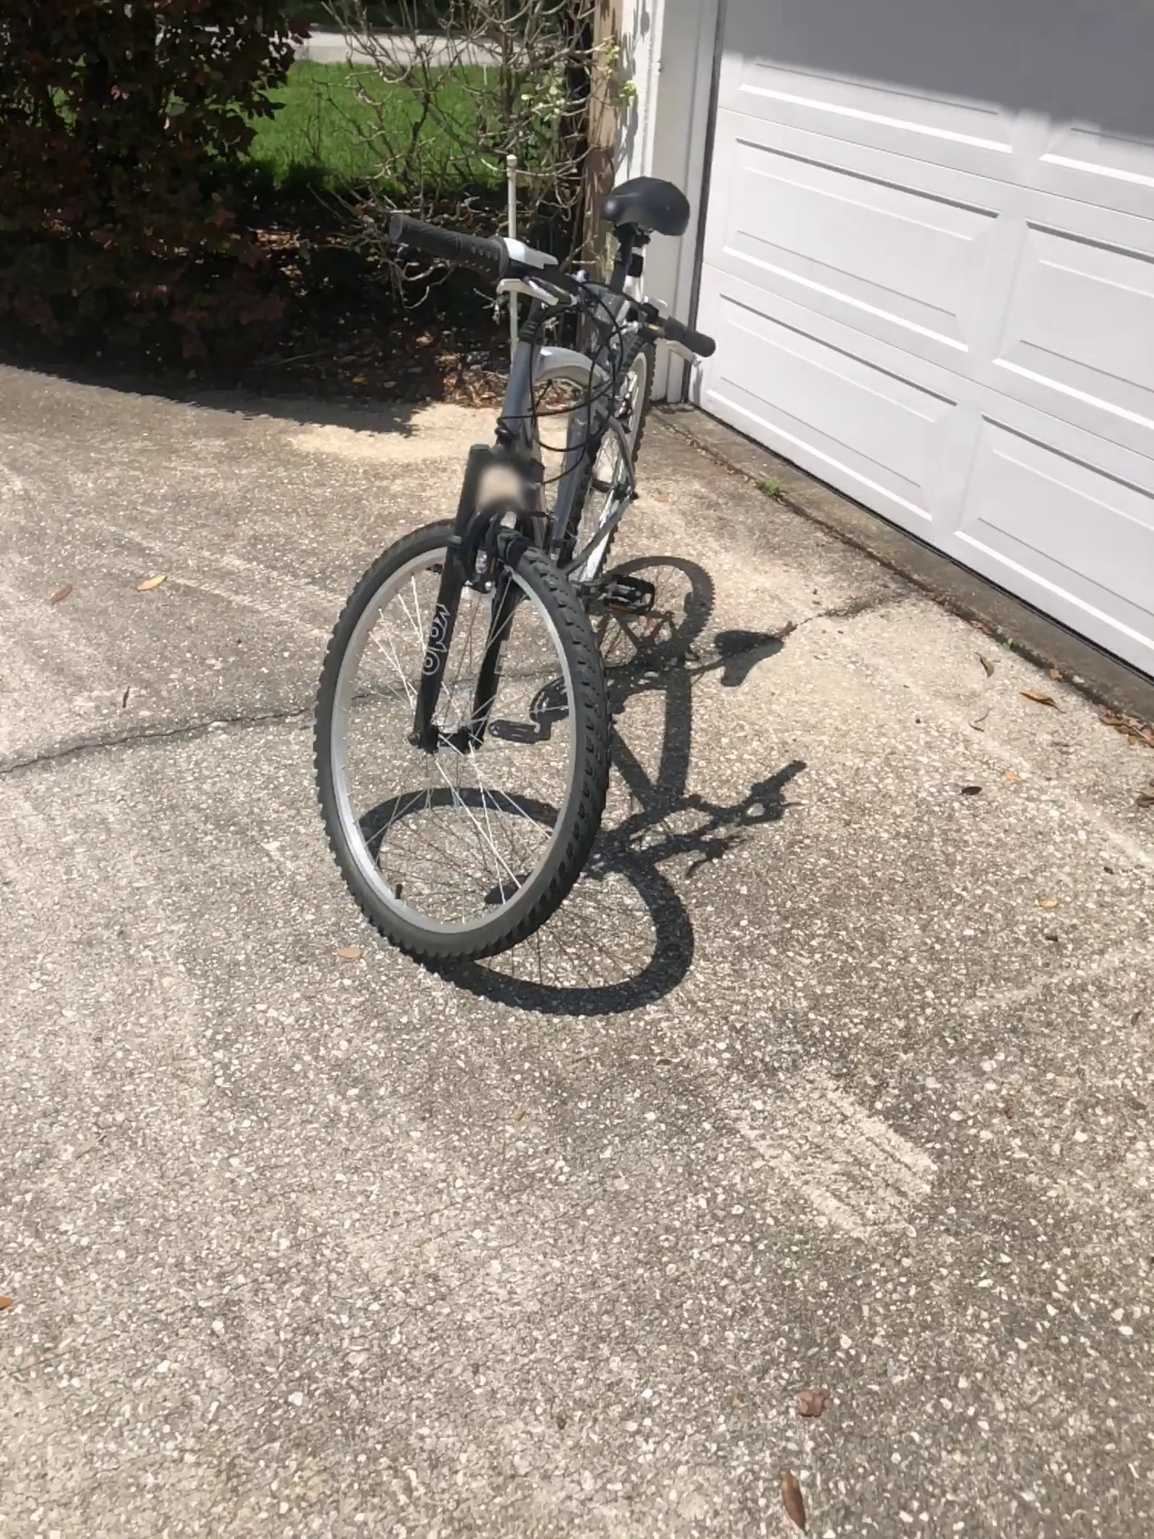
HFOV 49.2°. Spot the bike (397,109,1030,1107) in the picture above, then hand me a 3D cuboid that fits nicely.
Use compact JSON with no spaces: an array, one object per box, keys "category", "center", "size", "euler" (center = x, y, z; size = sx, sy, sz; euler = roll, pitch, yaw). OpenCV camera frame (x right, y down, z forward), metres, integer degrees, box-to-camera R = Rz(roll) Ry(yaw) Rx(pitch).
[{"category":"bike","center":[0.142,-0.452,2.233],"size":[0.679,0.980,1.540],"euler":[5,36,2]}]
